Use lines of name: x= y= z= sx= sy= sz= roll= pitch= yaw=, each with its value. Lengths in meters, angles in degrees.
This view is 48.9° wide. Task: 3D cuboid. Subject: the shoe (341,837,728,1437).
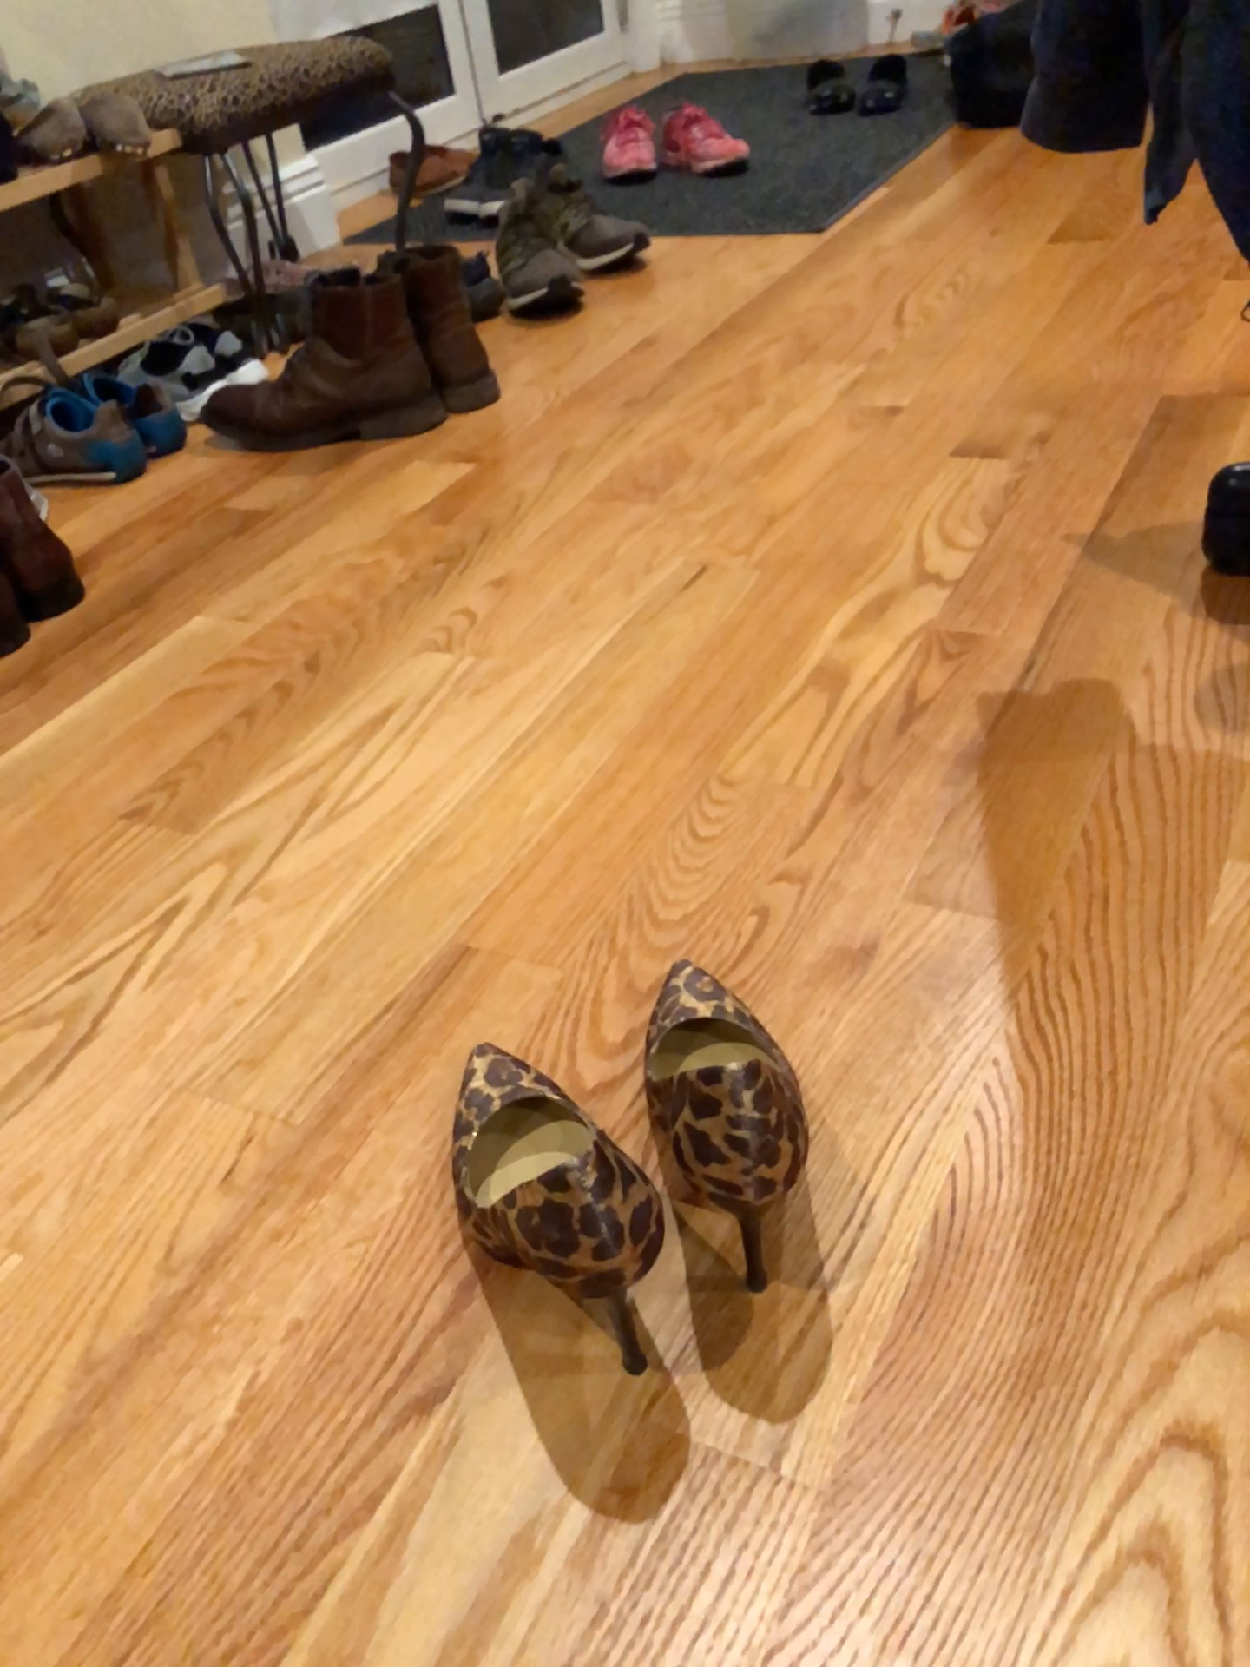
shoe: x=-0.046 y=0.127 z=0.632 sx=0.084 sy=0.144 sz=0.219 roll=-20 pitch=36 yaw=-14

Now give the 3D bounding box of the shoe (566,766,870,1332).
shoe: x=0.039 y=0.093 z=0.659 sx=0.083 sy=0.144 sz=0.220 roll=-12 pitch=35 yaw=-3
